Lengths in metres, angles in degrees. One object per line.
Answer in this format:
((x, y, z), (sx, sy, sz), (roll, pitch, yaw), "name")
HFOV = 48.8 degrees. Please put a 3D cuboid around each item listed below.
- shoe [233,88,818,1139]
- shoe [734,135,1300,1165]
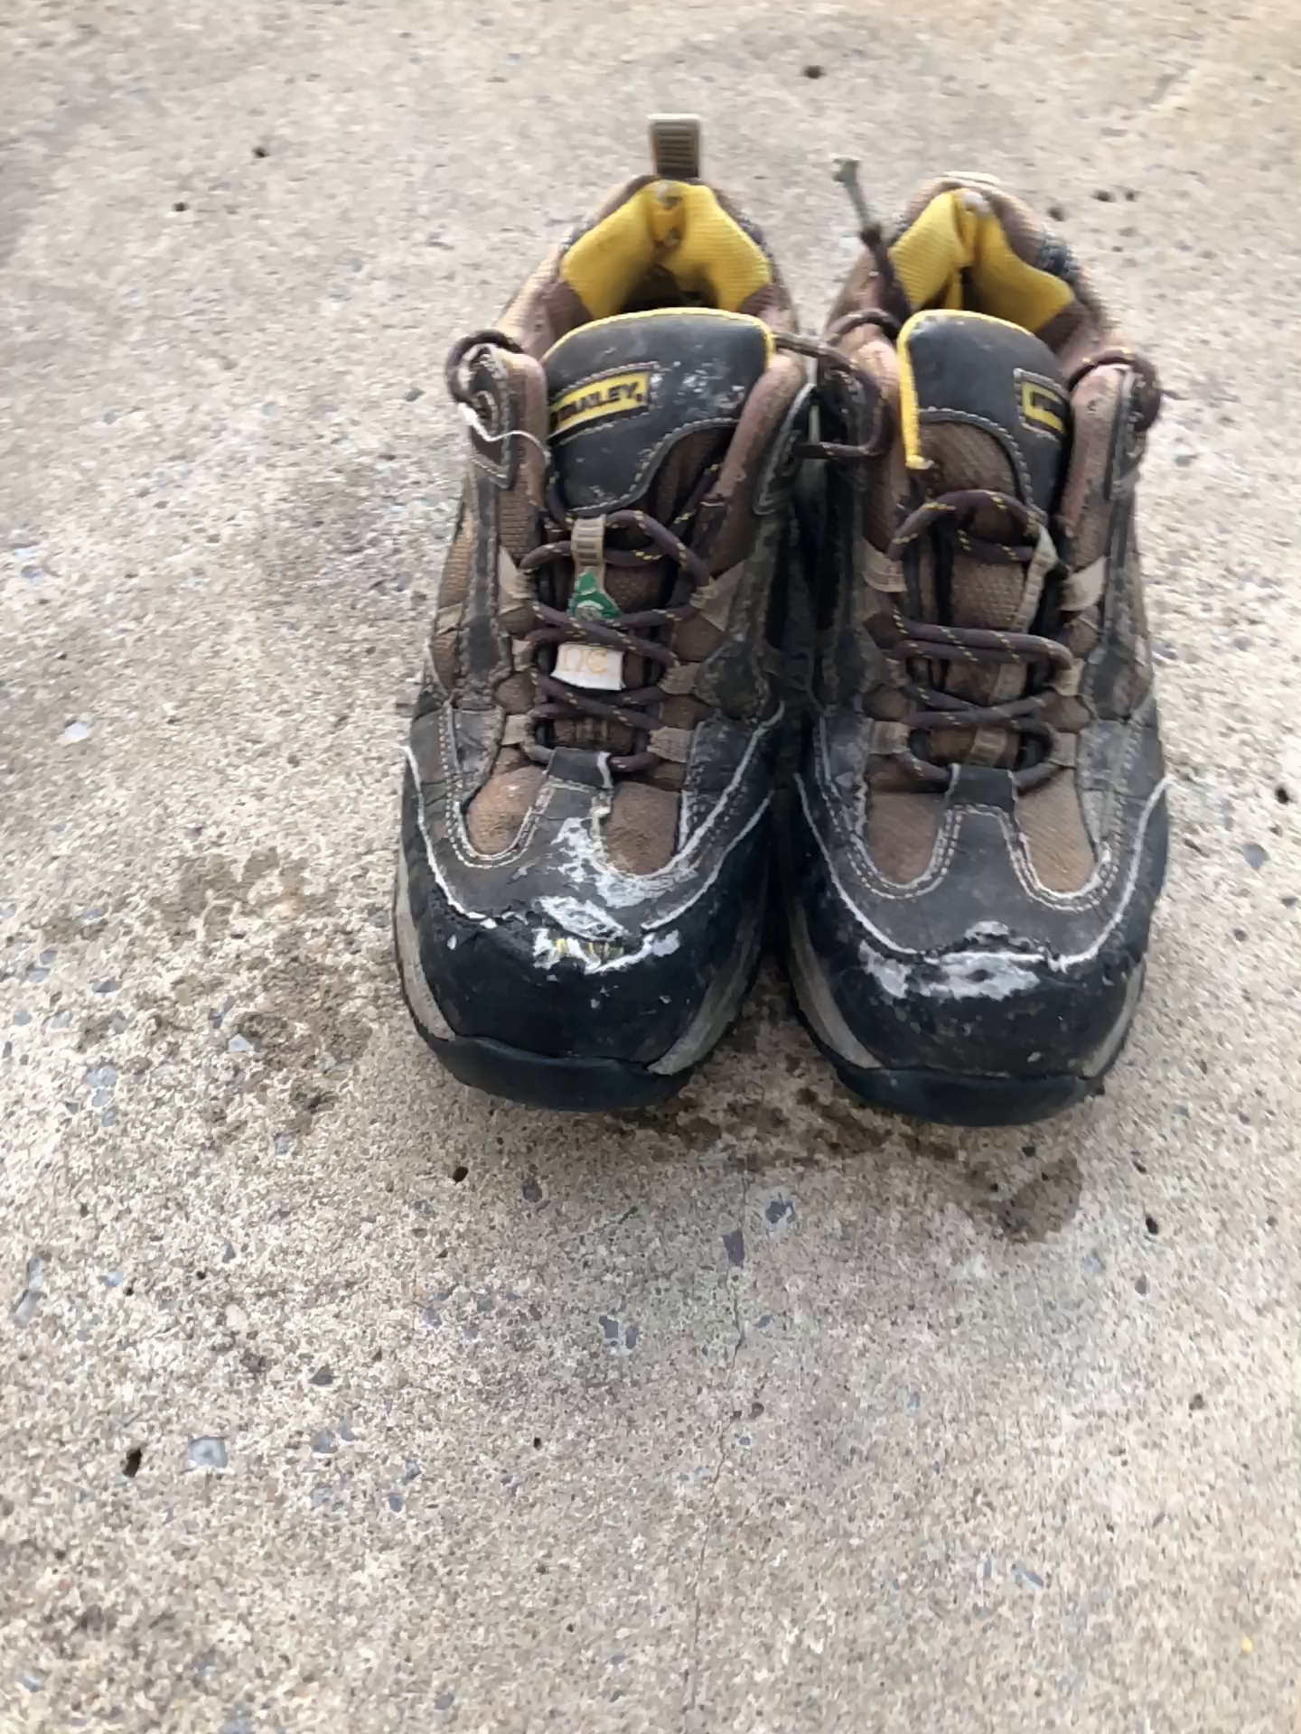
((-0.019, -0.071, 0.412), (0.100, 0.149, 0.251), (7, 63, 4), "shoe")
((0.100, -0.057, 0.417), (0.120, 0.169, 0.231), (7, 63, 4), "shoe")
